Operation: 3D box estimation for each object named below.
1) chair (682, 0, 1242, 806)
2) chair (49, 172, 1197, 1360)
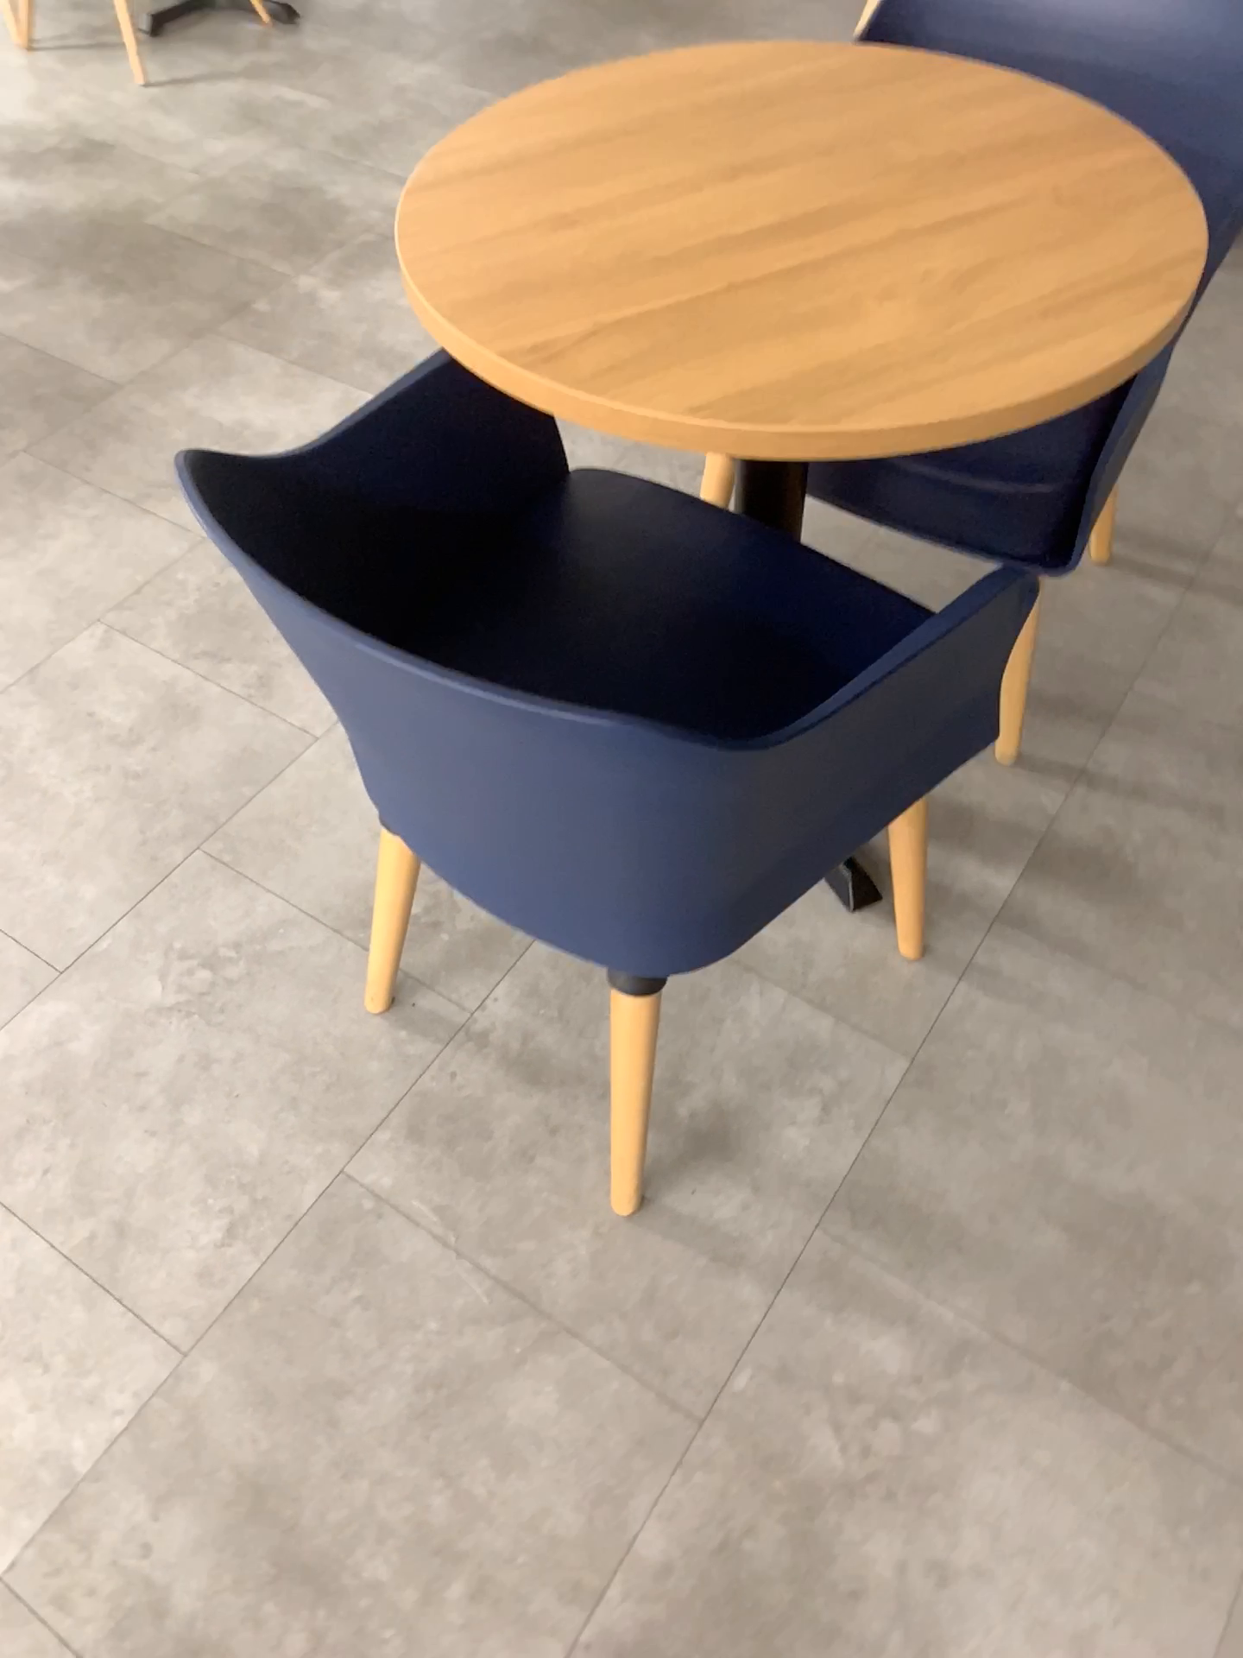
[{"bbox_3d":[0.460,-0.562,1.522,0.564,0.736,0.559,27,57,23],"label":"chair"},{"bbox_3d":[0.013,-0.041,1.148,0.564,0.736,0.549,34,60,26],"label":"chair"}]
